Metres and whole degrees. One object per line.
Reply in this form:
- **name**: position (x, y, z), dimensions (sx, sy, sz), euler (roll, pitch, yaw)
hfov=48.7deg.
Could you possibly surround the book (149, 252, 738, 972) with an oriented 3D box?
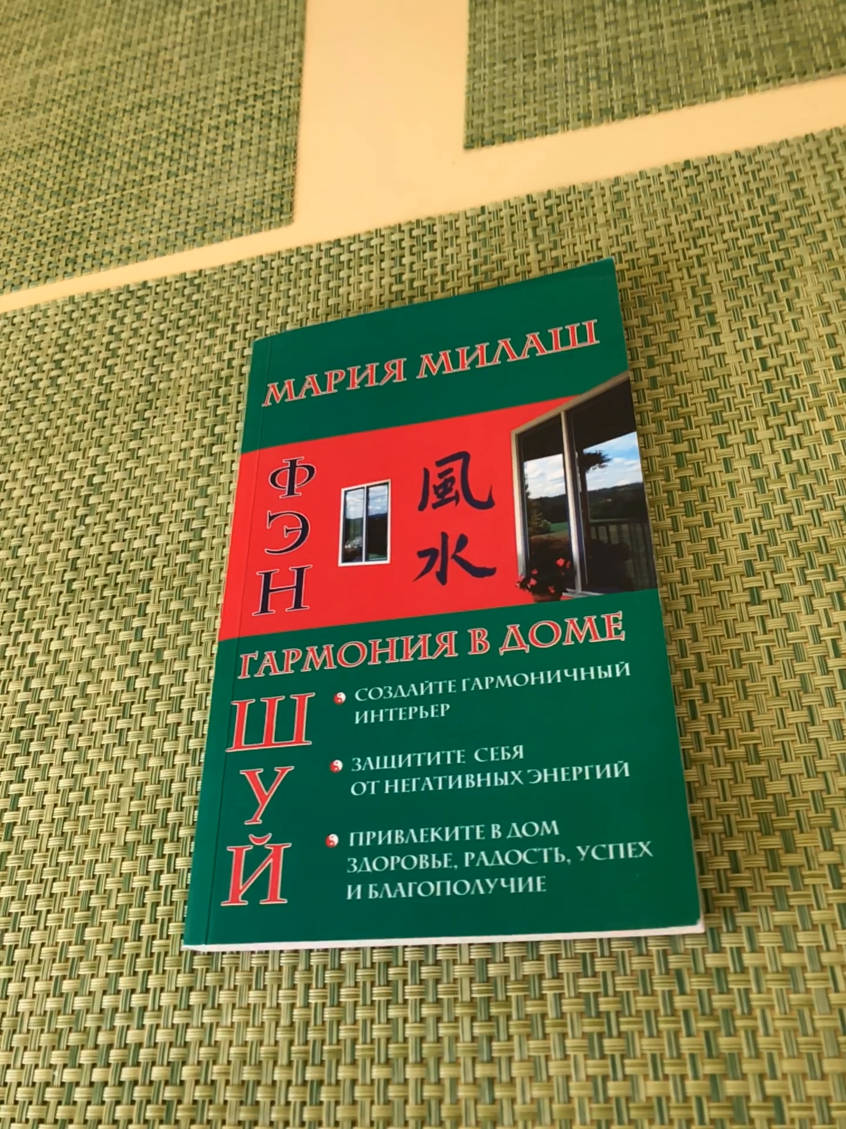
- **book**: position (0.002, 0.005, 0.267), dimensions (0.137, 0.020, 0.201), euler (-8, 59, 15)
